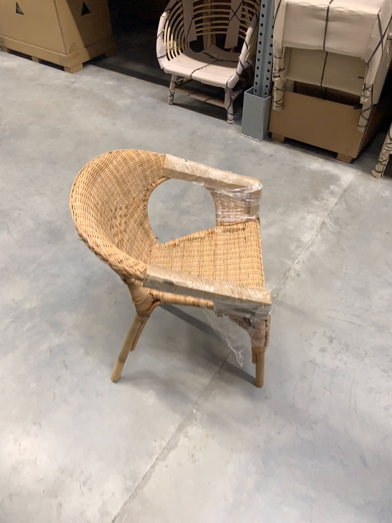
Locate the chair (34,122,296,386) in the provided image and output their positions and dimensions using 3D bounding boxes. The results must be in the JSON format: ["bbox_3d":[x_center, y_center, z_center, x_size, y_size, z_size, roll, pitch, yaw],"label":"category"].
[{"bbox_3d":[-0.066,-0.009,1.470,0.650,0.757,0.602,1,46,2],"label":"chair"}]
